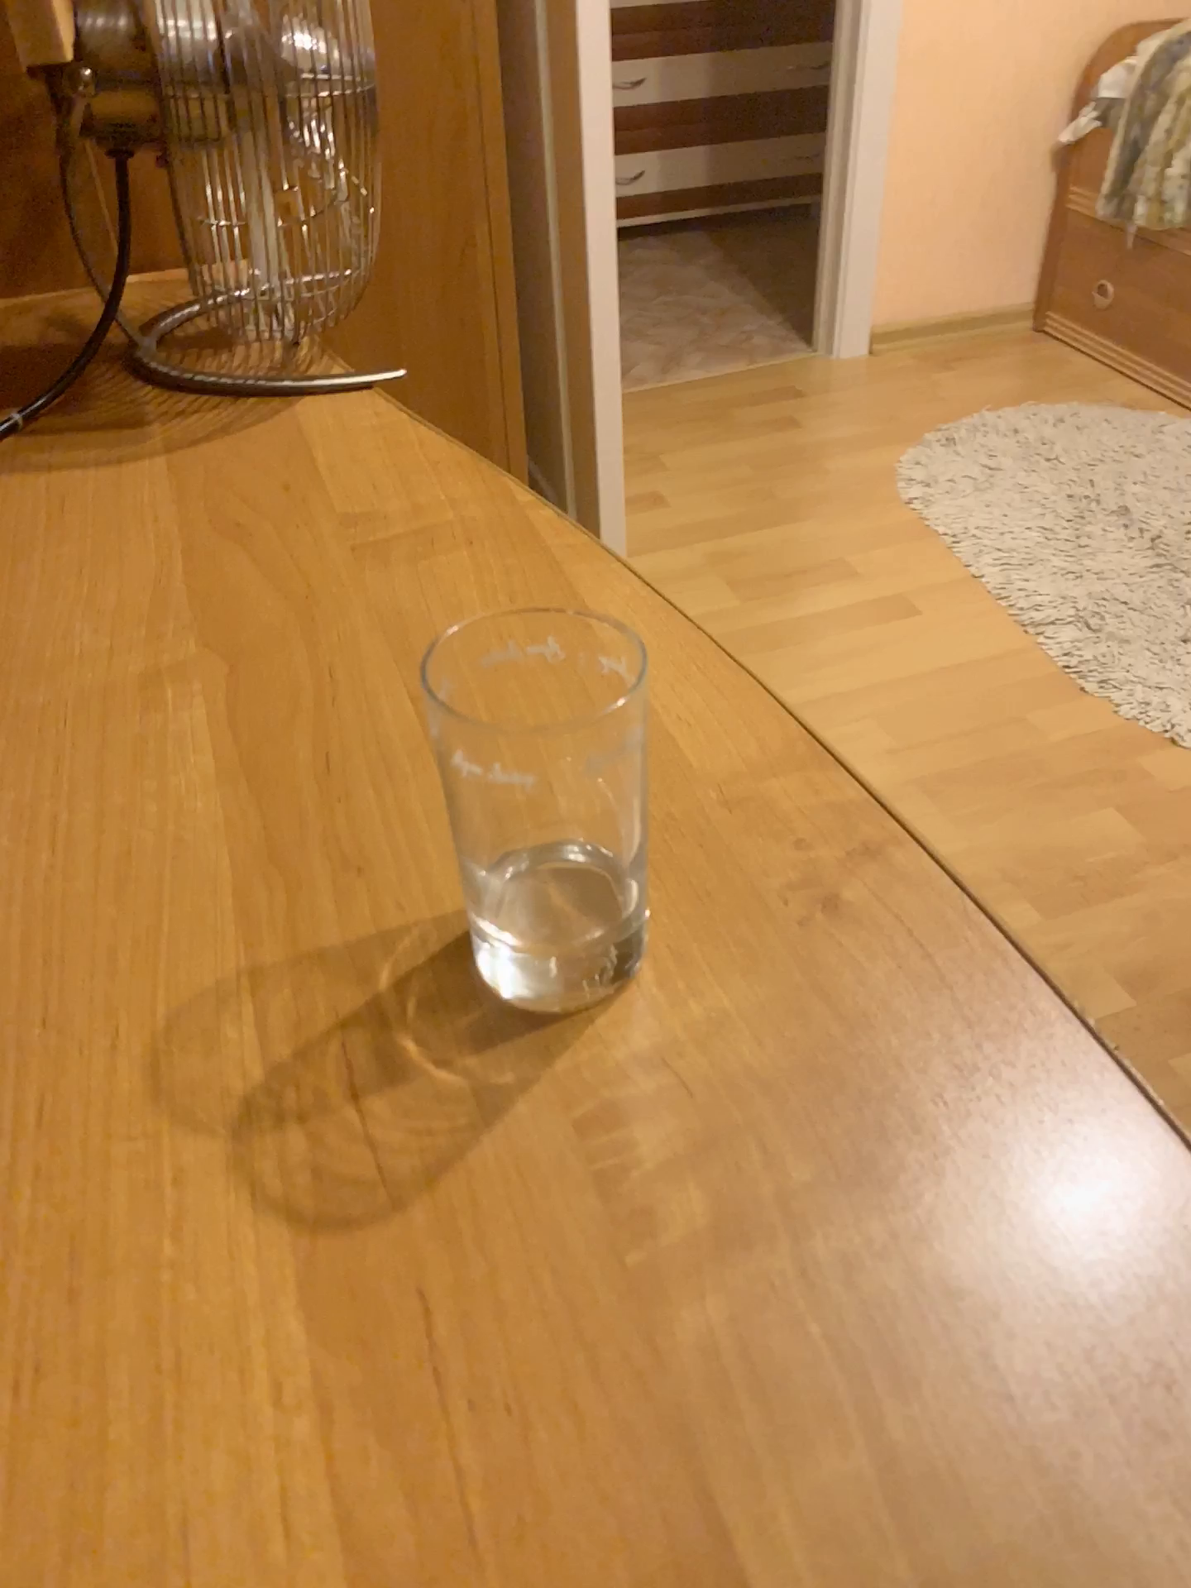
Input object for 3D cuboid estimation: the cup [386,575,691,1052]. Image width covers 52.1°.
[{"bbox_3d":[-0.014,0.006,0.320,0.060,0.099,0.061,-2,39,2],"label":"cup"}]
